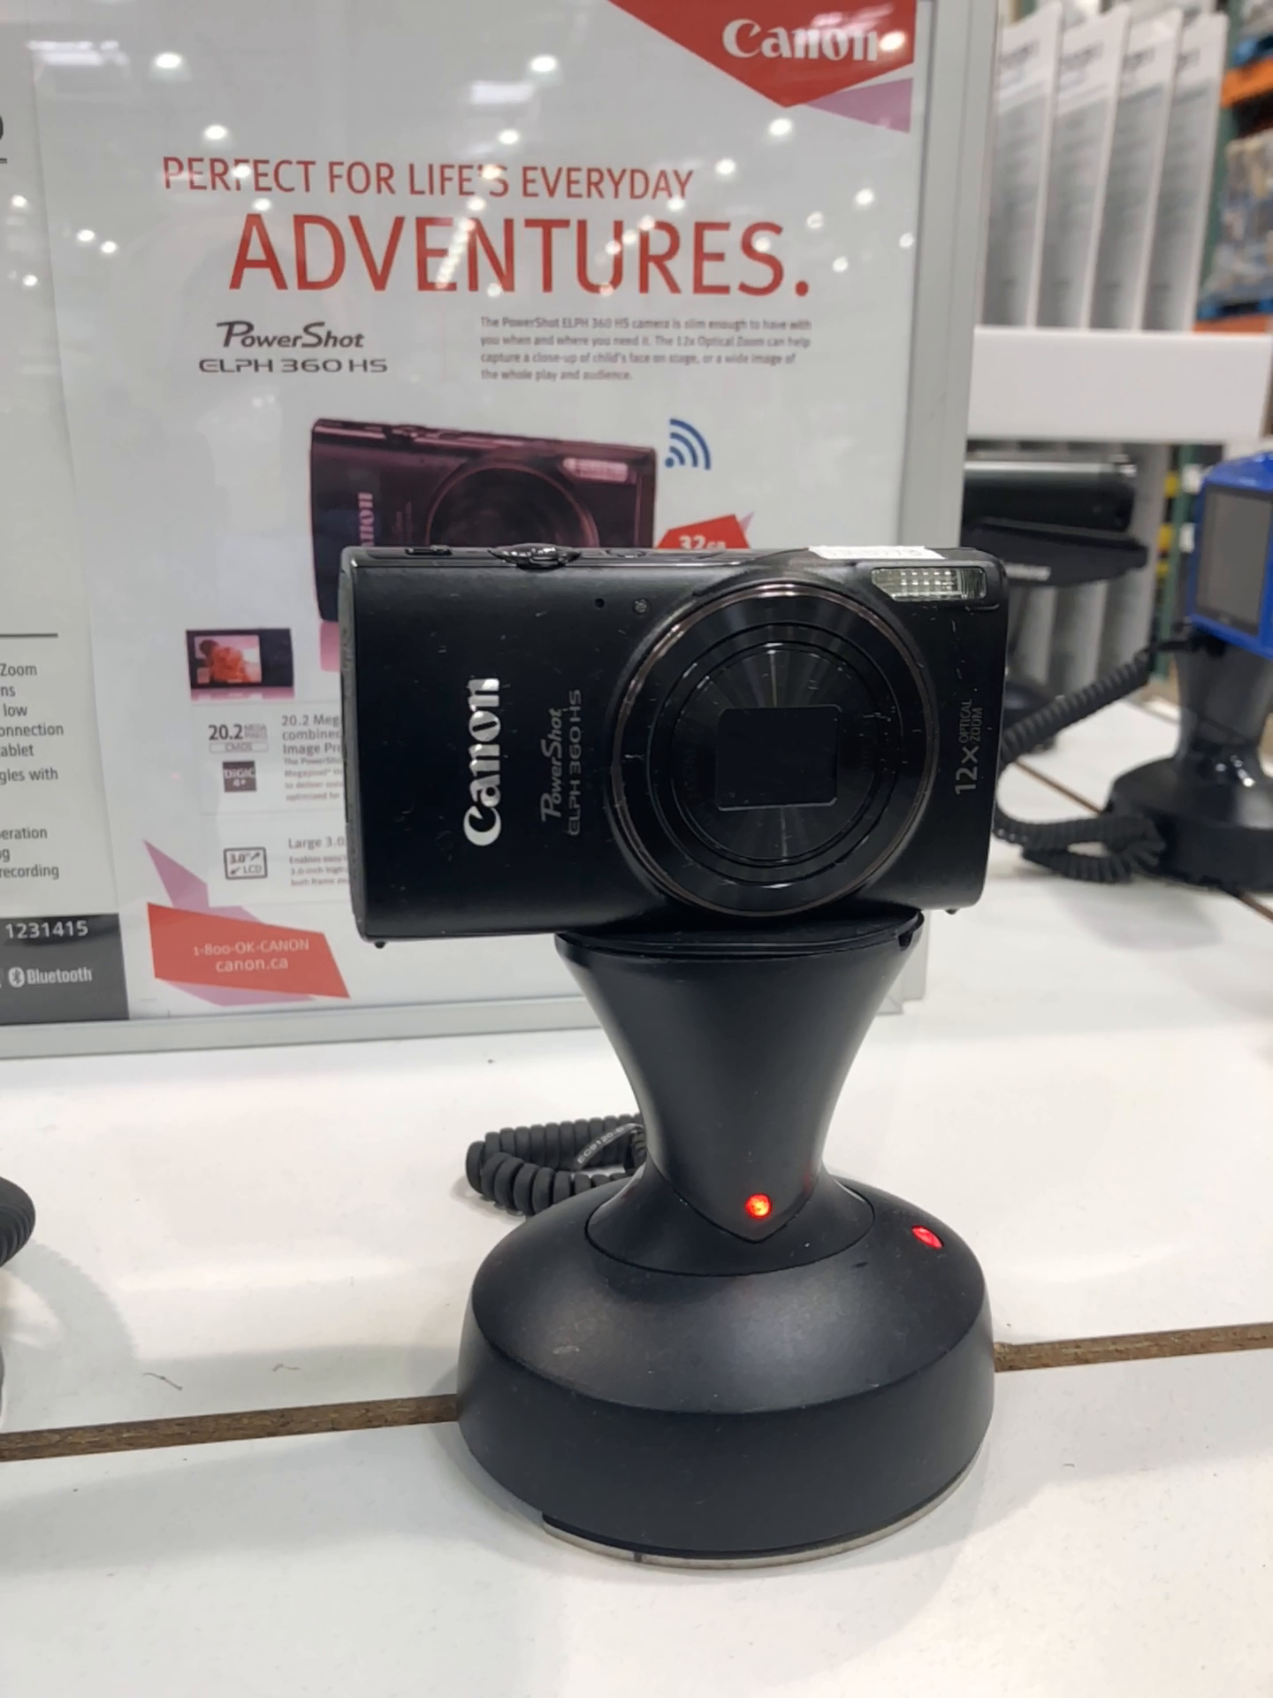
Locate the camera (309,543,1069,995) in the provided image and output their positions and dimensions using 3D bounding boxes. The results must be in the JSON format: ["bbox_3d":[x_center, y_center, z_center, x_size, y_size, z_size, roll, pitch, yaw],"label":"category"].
[{"bbox_3d":[0.006,-0.016,0.227,0.110,0.060,0.040,-3,17,-11],"label":"camera"}]
